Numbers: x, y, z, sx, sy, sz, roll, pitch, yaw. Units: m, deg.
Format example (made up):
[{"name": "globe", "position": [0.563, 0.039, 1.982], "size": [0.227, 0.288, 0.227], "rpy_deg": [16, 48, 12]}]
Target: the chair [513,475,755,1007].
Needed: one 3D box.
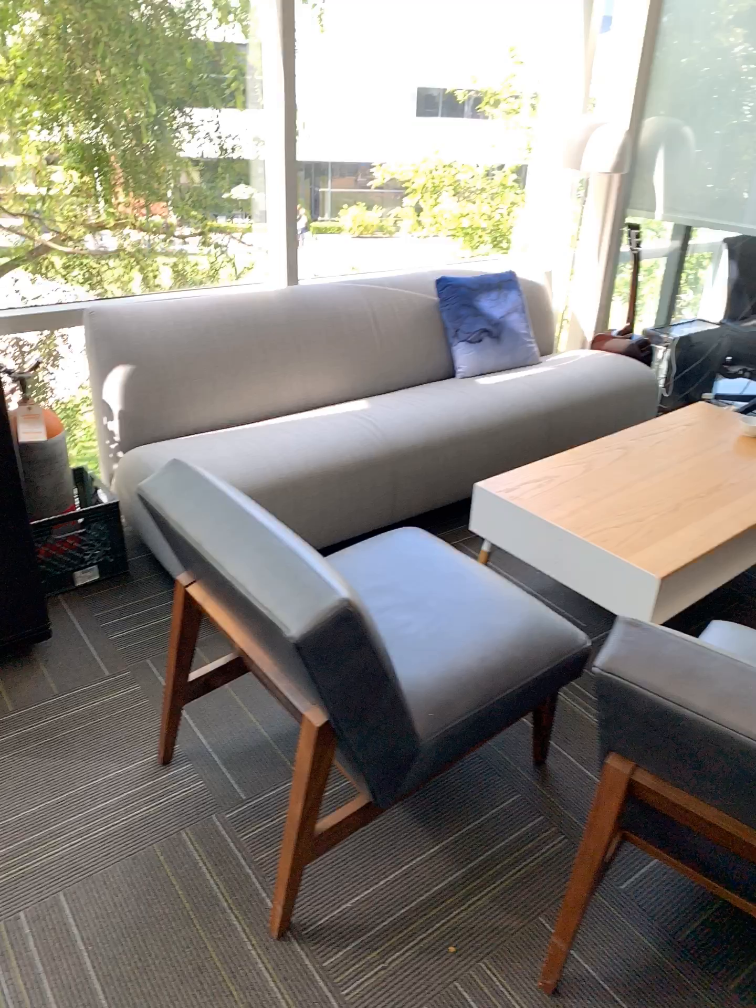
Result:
[{"name": "chair", "position": [0.804, 0.529, 1.411], "size": [0.682, 0.766, 0.853], "rpy_deg": [22, 33, 33]}]

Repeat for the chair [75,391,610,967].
[{"name": "chair", "position": [-0.086, 0.287, 1.796], "size": [0.852, 0.766, 0.742], "rpy_deg": [-20, 35, -36]}]
